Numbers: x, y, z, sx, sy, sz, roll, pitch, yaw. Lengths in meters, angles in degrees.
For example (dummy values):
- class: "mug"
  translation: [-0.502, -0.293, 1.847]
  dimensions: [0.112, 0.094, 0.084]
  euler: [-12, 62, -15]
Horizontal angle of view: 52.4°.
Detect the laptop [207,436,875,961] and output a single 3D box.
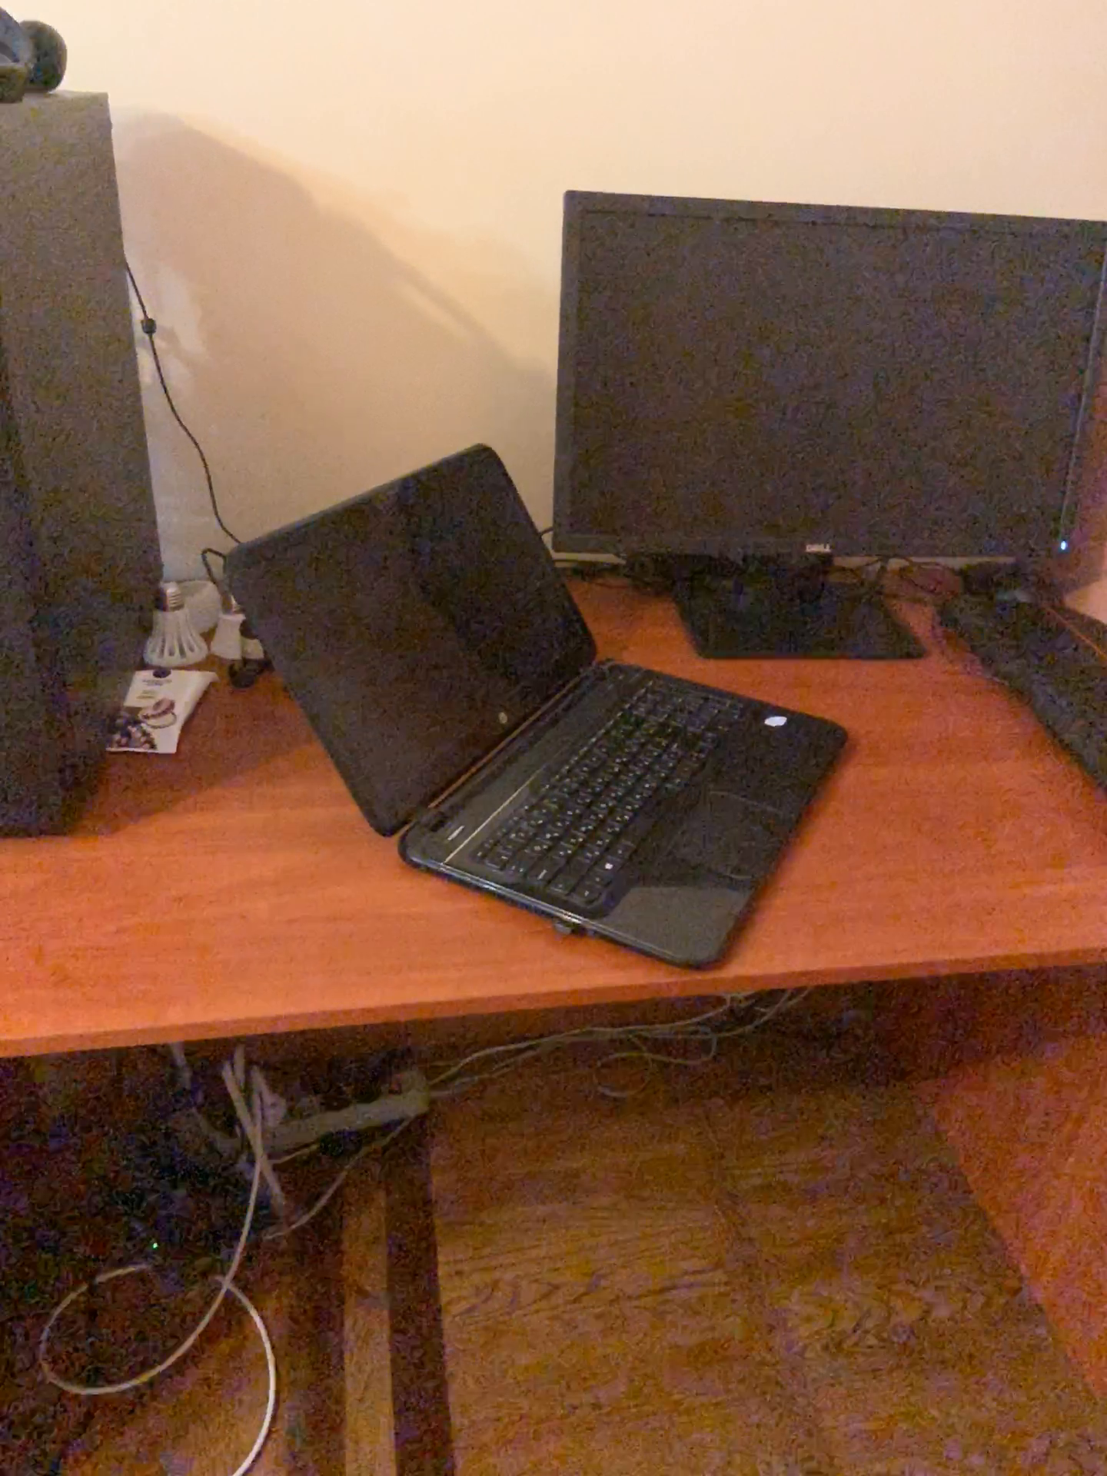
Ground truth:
- class: "laptop"
  translation: [0.008, -0.065, 0.828]
  dimensions: [0.358, 0.168, 0.333]
  euler: [19, 32, 20]
